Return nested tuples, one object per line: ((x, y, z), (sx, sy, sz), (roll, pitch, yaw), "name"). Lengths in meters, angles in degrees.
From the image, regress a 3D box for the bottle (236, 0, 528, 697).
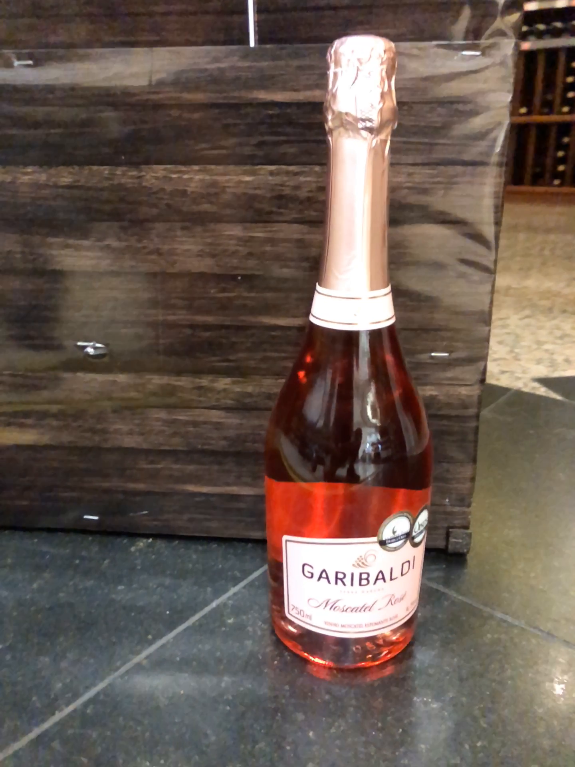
((0.034, -0.010, 0.339), (0.110, 0.338, 0.101), (0, 19, 0), "bottle")
